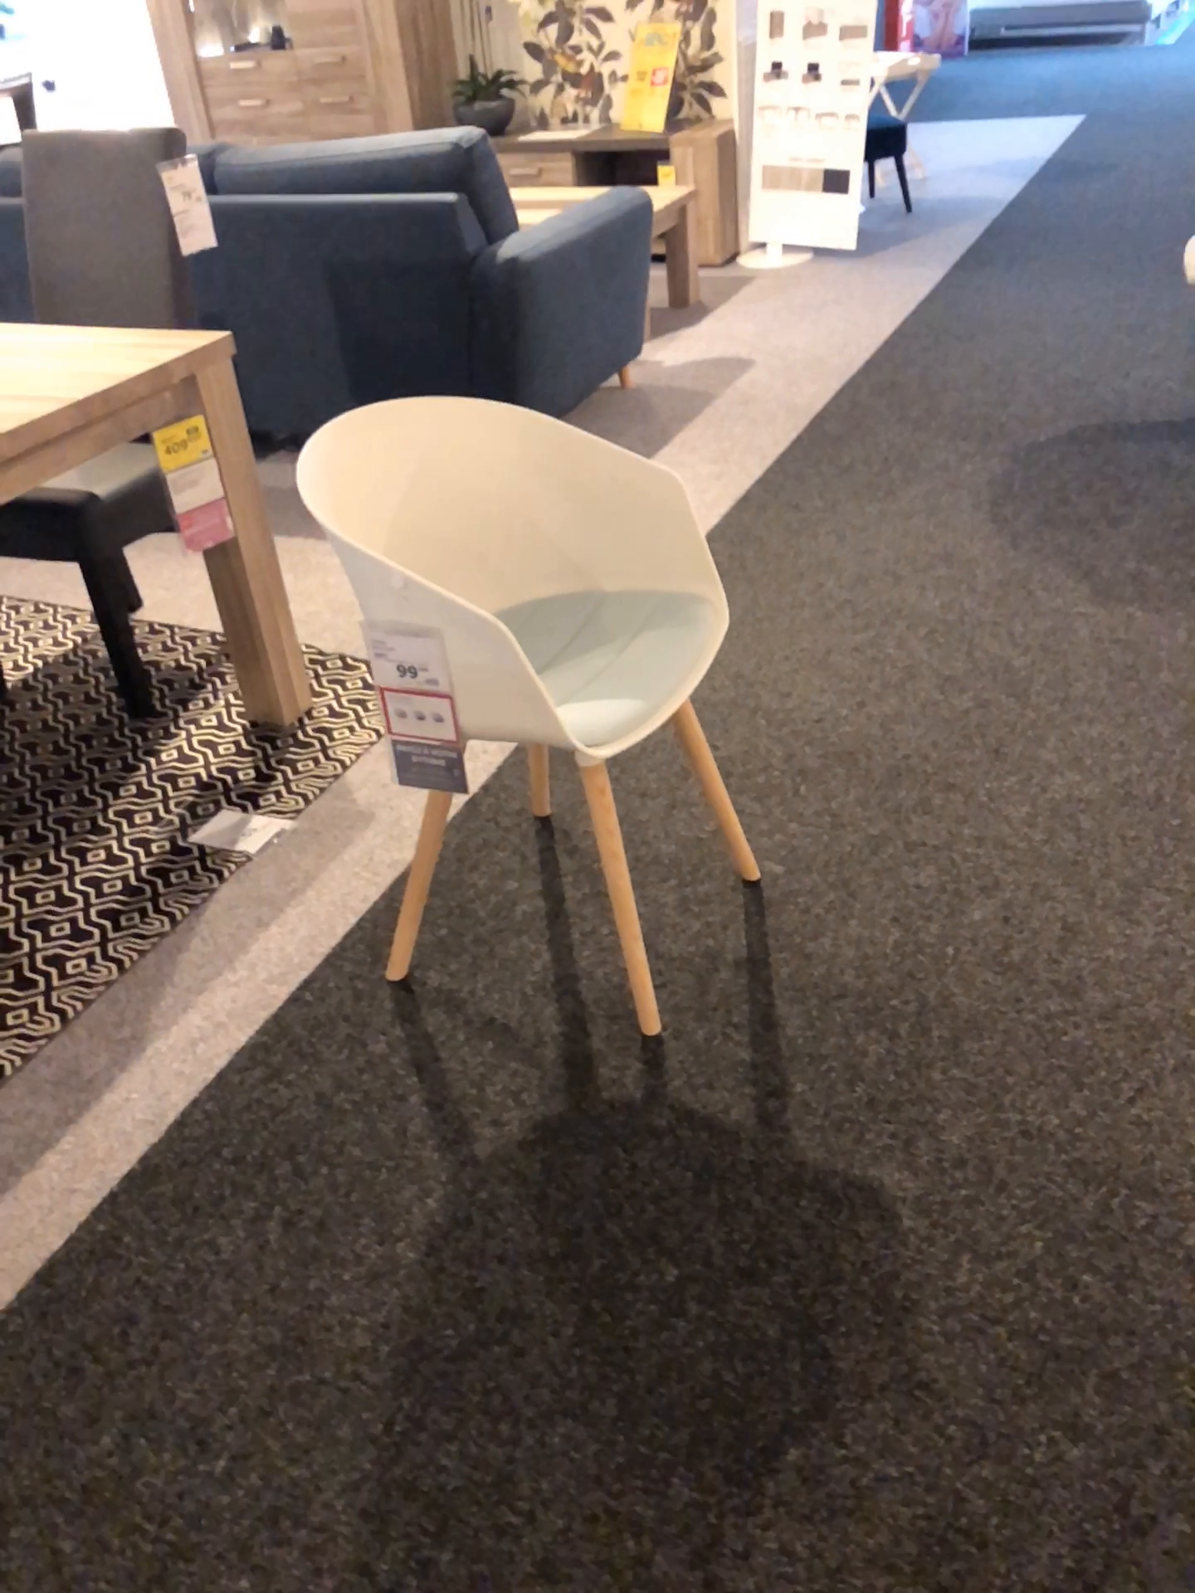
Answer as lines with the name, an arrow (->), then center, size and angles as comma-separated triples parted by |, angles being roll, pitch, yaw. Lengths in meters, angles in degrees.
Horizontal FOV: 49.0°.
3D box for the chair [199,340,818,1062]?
chair -> -0.062, -0.167, 1.859 | 0.580, 0.766, 0.554 | 13, 37, 26
